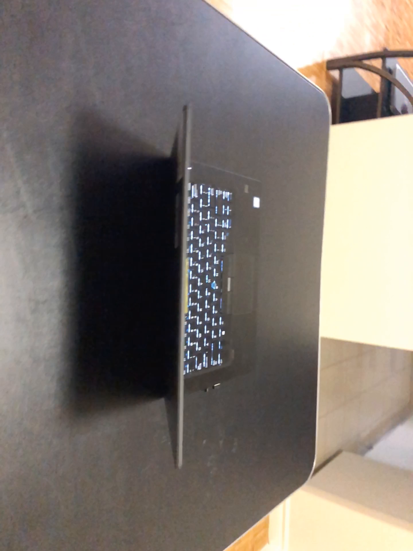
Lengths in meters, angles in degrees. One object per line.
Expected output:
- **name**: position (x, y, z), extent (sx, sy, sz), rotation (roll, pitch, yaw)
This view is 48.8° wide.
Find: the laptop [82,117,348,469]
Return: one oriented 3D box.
- **laptop**: position (0.038, 0.012, 0.598), extent (0.370, 0.140, 0.319), rotation (-1, 94, -51)
